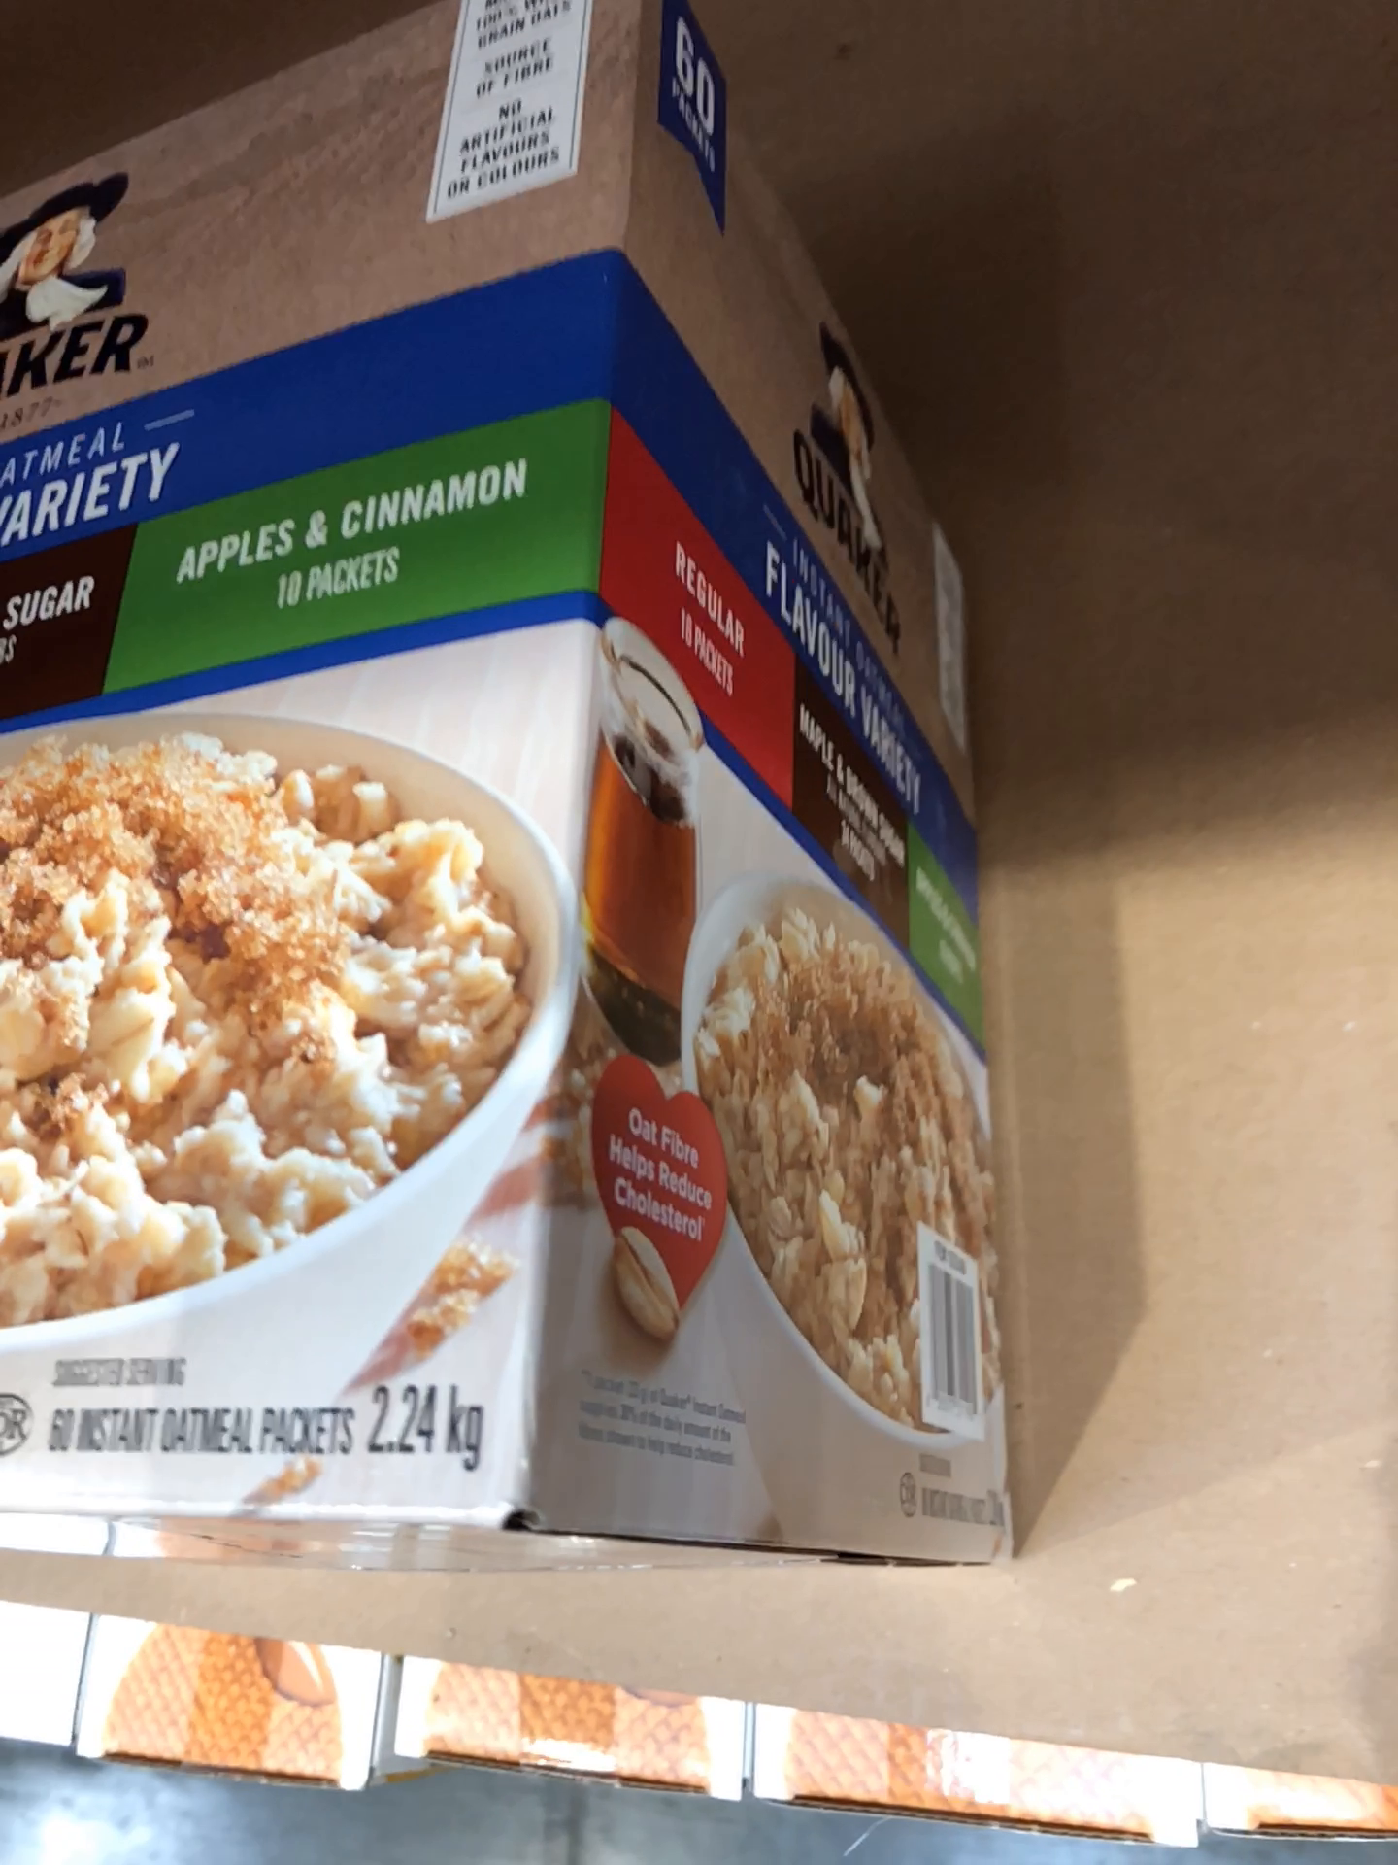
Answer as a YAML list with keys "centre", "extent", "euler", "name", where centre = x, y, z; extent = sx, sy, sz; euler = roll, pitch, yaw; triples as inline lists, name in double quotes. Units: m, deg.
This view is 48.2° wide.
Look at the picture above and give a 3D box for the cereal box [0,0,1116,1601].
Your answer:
- centre: [-0.063, -0.011, 0.324]
  extent: [0.241, 0.199, 0.260]
  euler: [-8, 64, 24]
  name: "cereal box"
